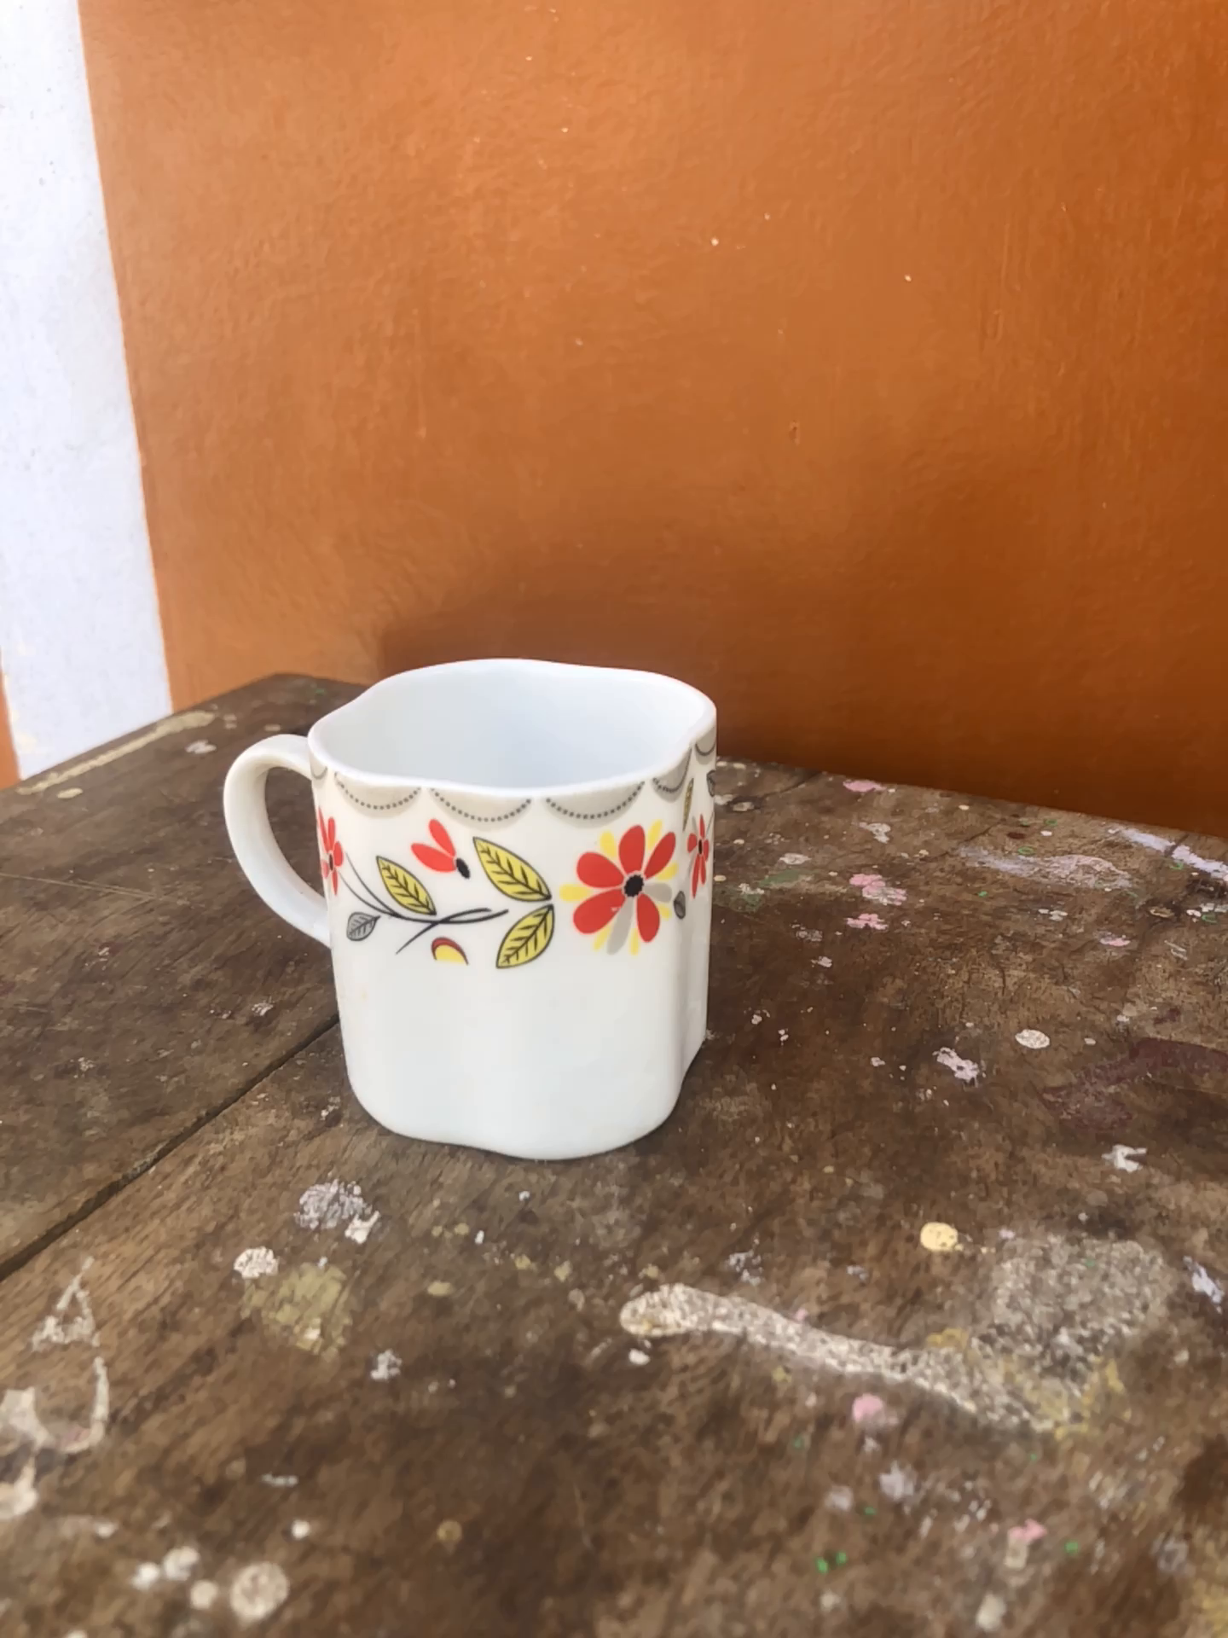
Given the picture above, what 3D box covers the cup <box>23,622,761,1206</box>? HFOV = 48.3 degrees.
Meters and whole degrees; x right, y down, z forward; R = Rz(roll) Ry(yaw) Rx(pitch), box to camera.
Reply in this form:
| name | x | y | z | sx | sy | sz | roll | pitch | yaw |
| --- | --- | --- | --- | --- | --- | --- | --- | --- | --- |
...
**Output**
| name | x | y | z | sx | sy | sz | roll | pitch | yaw |
| --- | --- | --- | --- | --- | --- | --- | --- | --- | --- |
| cup | -0.029 | 0.008 | 0.212 | 0.090 | 0.060 | 0.060 | 7 | 21 | 18 |
